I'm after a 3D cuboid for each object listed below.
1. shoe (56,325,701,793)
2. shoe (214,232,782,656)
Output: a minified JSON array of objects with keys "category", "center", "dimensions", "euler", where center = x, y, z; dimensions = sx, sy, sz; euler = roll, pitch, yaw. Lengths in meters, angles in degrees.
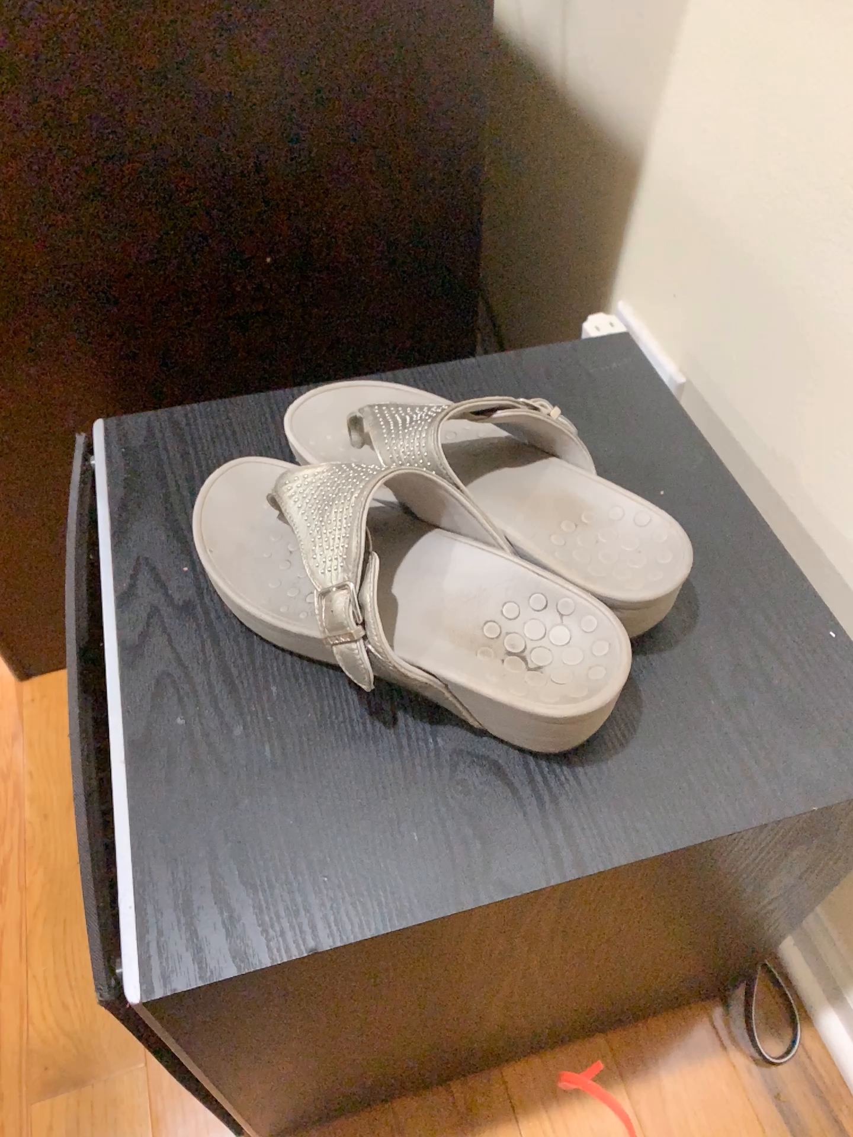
[{"category":"shoe","center":[-0.022,-0.014,0.396],"dimensions":[0.248,0.080,0.109],"euler":[22,53,17]},{"category":"shoe","center":[0.028,-0.073,0.444],"dimensions":[0.248,0.080,0.108],"euler":[28,55,21]}]
